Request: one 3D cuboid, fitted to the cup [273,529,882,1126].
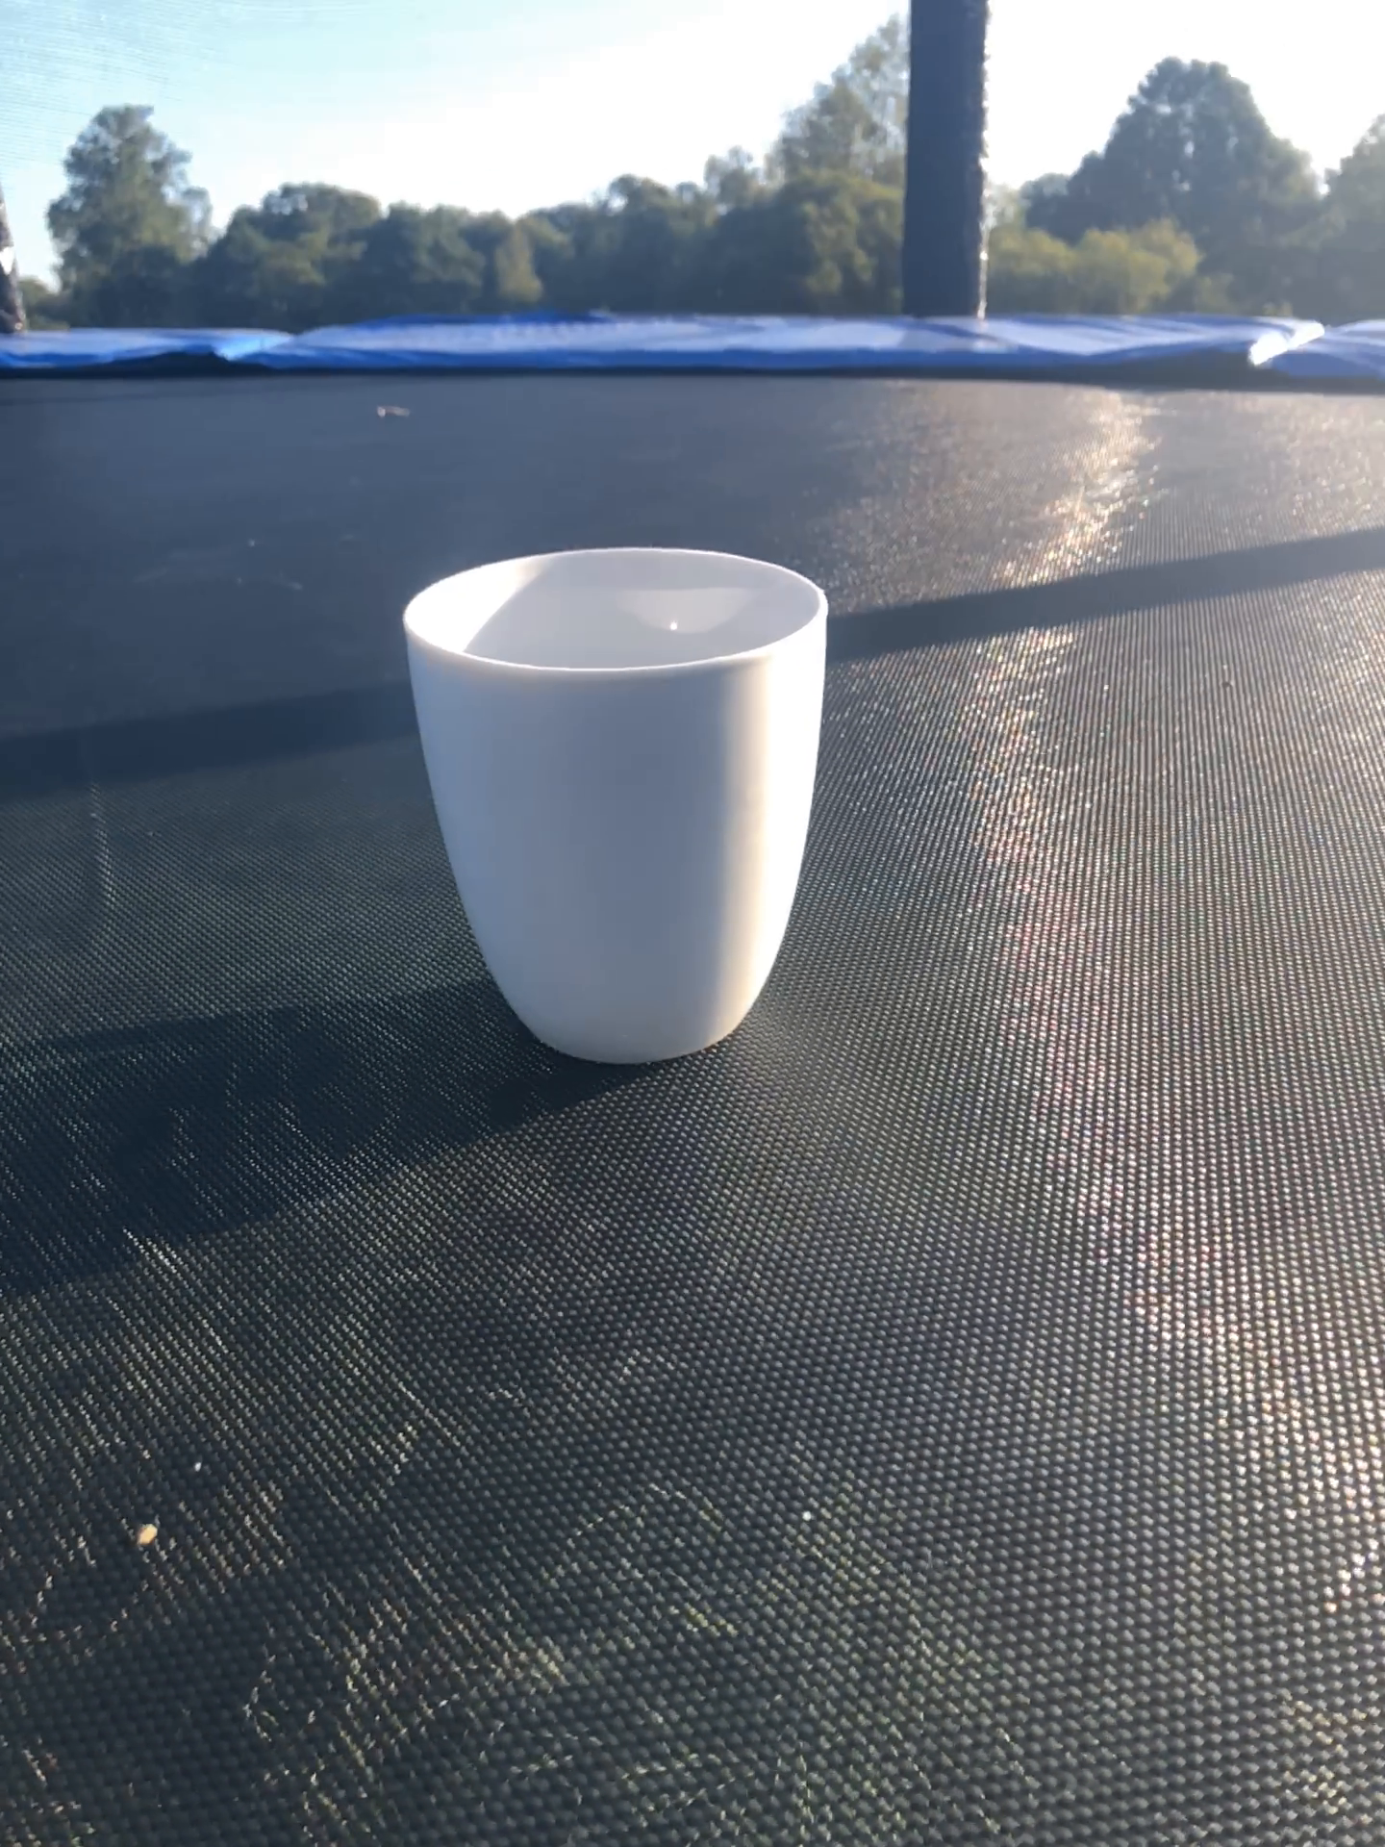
[{"bbox_3d":[-0.019,-0.030,0.352,0.100,0.089,0.111,9,27,14],"label":"cup"}]
